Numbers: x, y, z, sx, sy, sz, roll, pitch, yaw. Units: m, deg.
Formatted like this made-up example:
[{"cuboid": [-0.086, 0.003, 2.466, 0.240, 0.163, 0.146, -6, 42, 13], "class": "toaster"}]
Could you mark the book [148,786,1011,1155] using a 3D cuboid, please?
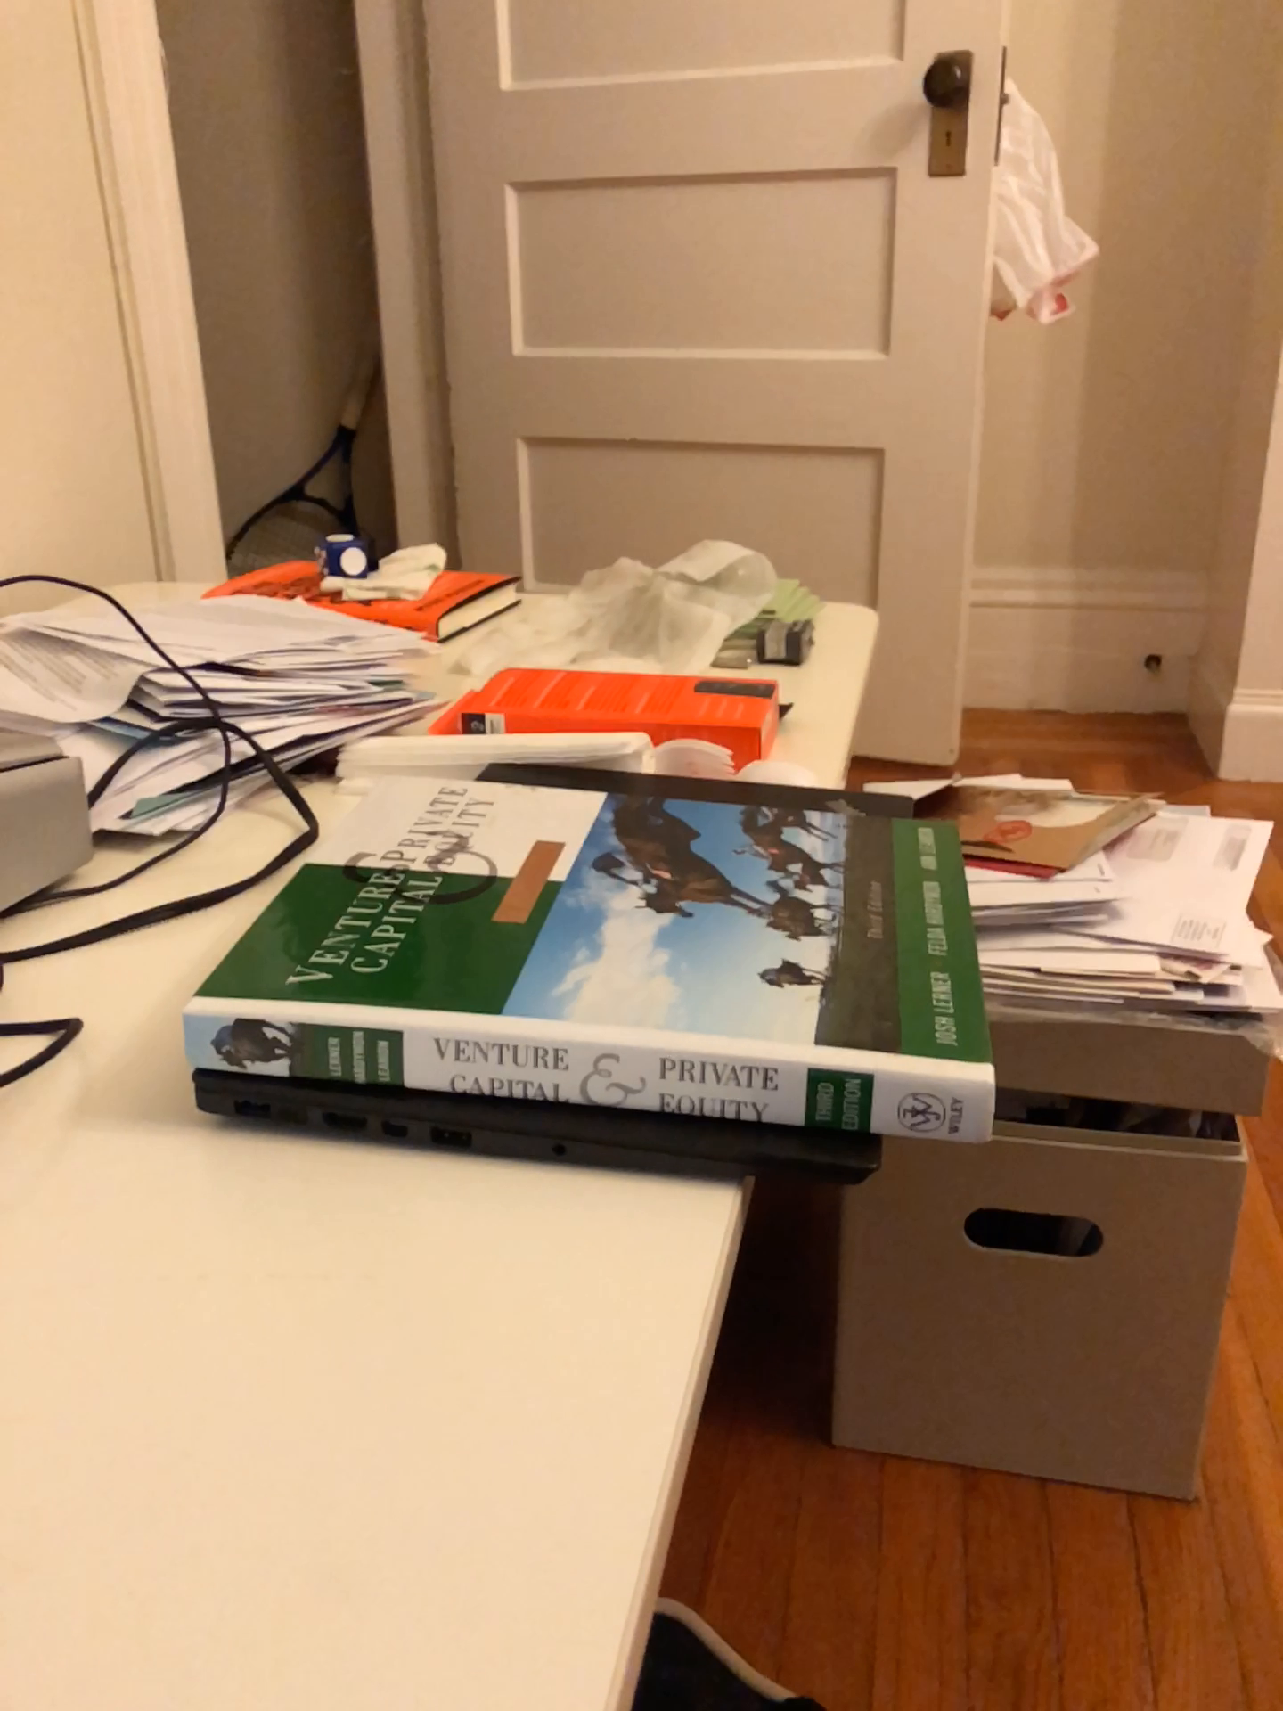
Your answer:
[{"cuboid": [-0.009, 0.030, 0.542, 0.270, 0.030, 0.221, 3, 22, 7], "class": "book"}]
